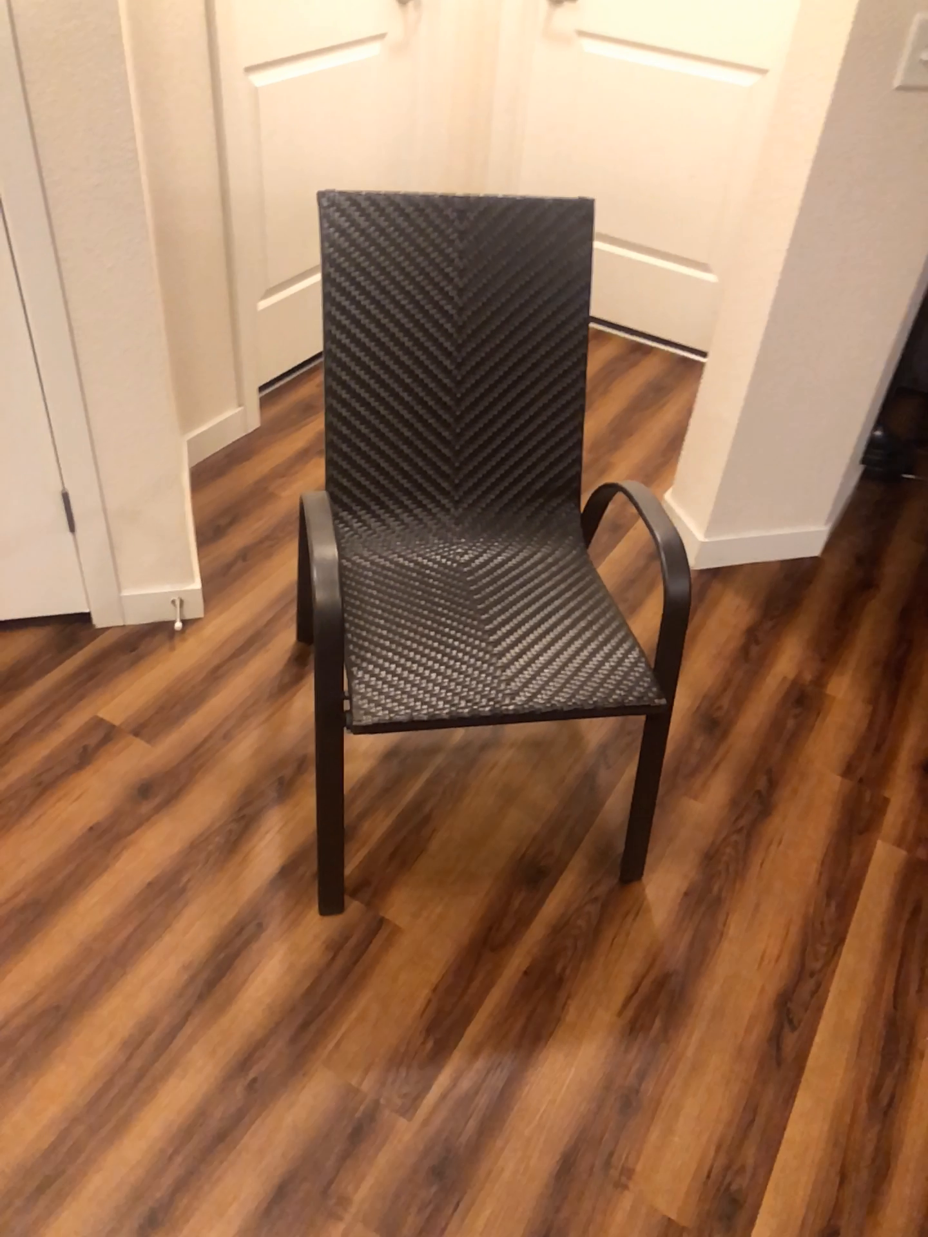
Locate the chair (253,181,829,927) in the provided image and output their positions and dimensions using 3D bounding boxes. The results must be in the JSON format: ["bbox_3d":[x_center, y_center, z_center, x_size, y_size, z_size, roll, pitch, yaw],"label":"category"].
[{"bbox_3d":[0.003,-0.119,1.597,0.597,0.852,0.751,-3,40,-11],"label":"chair"}]
